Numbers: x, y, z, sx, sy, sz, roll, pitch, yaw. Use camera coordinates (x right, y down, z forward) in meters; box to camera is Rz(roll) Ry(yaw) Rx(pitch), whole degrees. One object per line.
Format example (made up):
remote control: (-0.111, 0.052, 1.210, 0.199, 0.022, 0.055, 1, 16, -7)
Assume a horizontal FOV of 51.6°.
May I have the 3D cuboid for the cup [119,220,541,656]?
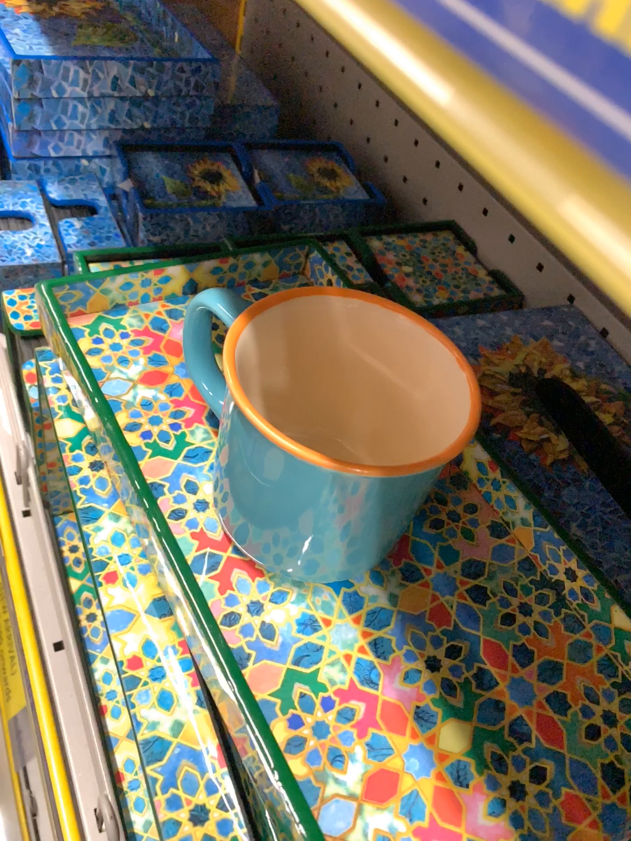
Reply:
cup: (-0.004, -0.001, 0.247, 0.090, 0.080, 0.120, -24, 59, -33)
